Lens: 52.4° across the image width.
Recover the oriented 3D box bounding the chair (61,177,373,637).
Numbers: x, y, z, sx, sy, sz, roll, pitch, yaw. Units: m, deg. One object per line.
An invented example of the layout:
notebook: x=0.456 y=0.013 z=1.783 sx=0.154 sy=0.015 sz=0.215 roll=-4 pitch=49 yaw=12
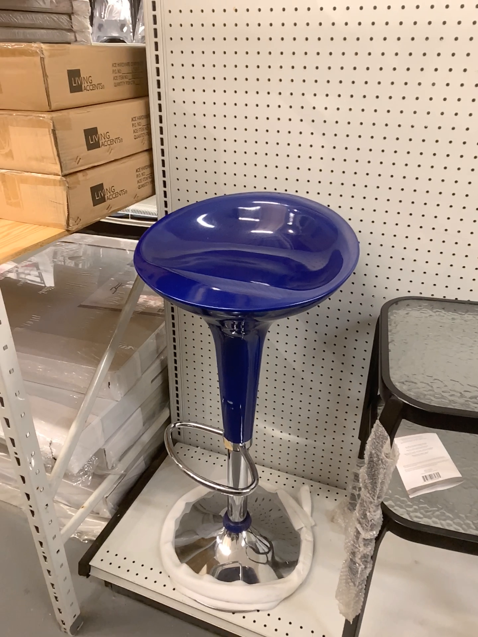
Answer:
chair: x=-0.009 y=0.181 z=1.070 sx=0.434 sy=0.852 sz=0.419 roll=10 pitch=29 yaw=18
